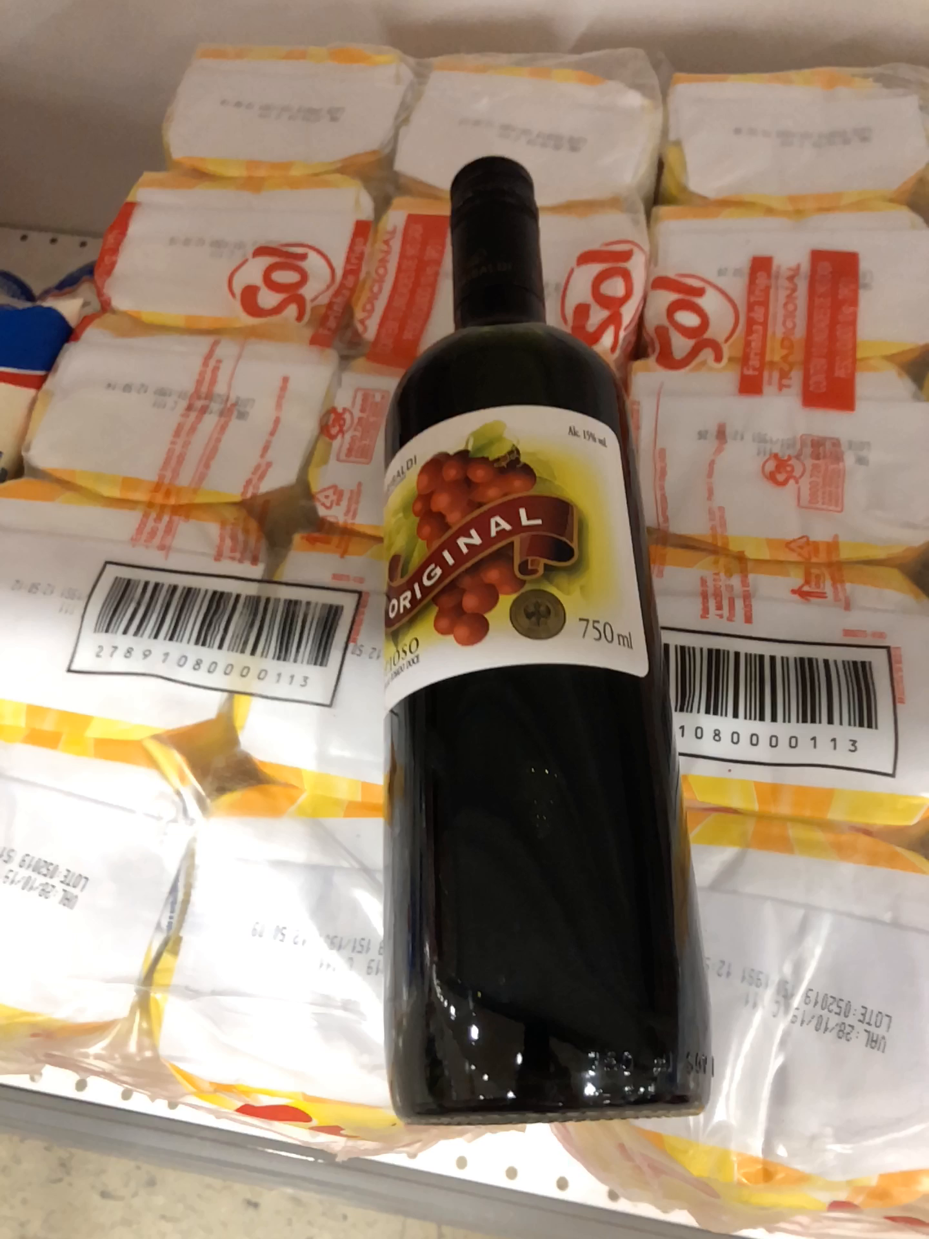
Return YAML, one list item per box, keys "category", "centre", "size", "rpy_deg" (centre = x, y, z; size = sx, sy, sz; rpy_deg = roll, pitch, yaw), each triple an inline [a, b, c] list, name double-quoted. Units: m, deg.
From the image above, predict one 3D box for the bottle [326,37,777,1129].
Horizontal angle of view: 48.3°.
- category: "bottle"
  centre: [0.018, -0.029, 0.311]
  size: [0.080, 0.070, 0.322]
  rpy_deg: [-16, 58, 24]
